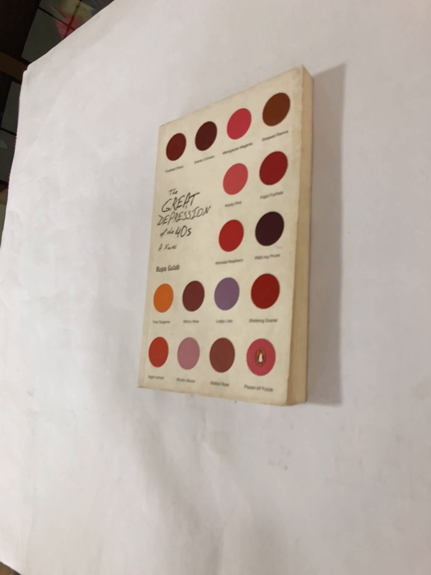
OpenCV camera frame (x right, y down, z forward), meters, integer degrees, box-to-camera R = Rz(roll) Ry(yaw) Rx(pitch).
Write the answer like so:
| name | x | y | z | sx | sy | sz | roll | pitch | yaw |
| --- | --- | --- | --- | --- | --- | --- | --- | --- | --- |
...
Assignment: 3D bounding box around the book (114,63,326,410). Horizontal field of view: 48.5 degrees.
| name | x | y | z | sx | sy | sz | roll | pitch | yaw |
| --- | --- | --- | --- | --- | --- | --- | --- | --- | --- |
| book | -0.002 | -0.026 | 0.310 | 0.141 | 0.030 | 0.190 | -5 | 76 | 42 |
